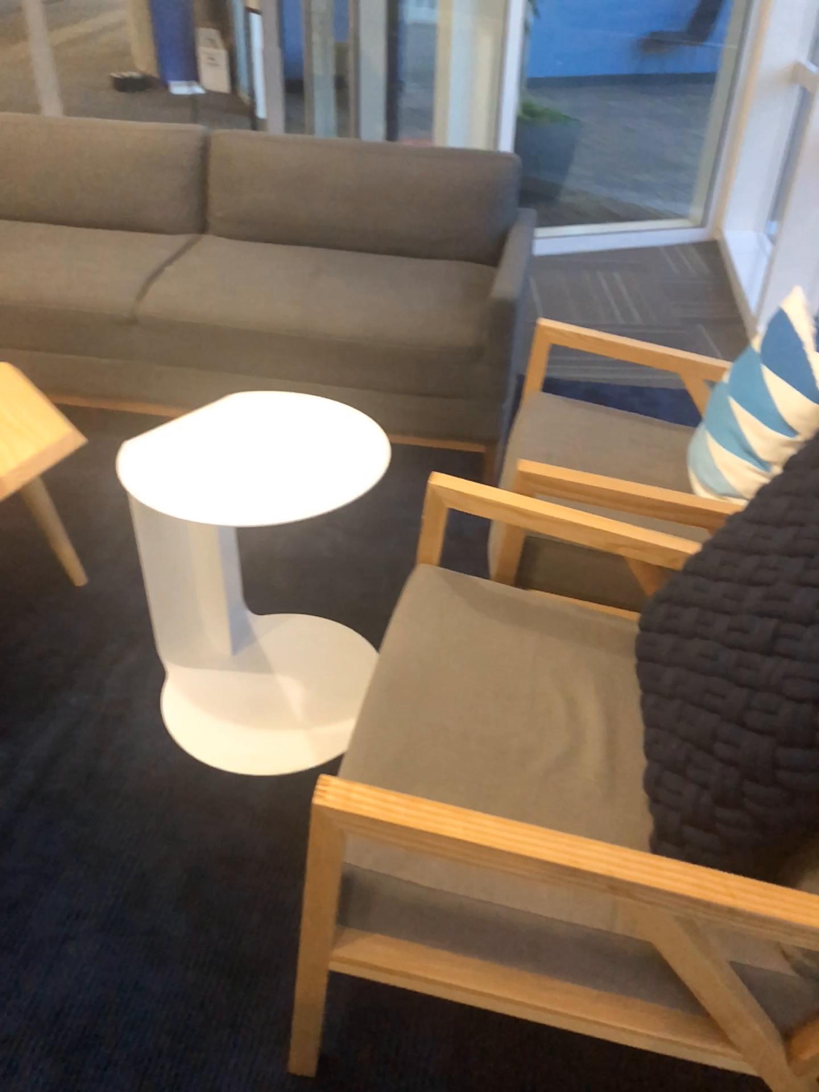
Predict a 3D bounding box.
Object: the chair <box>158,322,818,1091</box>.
[{"bbox_3d":[0.275,0.249,1.201,0.850,0.773,0.747,8,35,9],"label":"chair"}]
